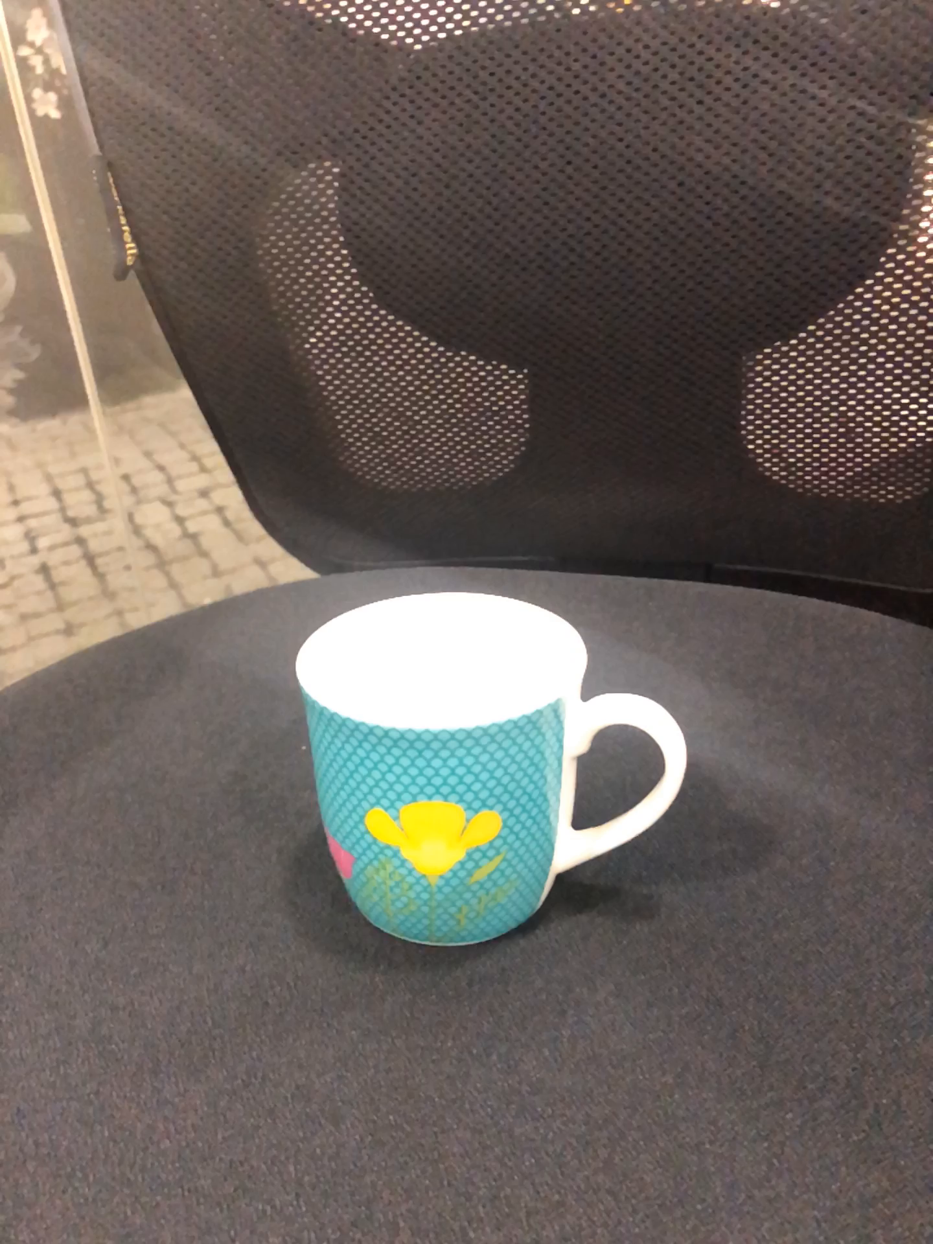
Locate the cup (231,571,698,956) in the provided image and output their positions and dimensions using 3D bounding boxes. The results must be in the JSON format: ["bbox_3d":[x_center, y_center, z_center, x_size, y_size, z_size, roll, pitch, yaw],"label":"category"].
[{"bbox_3d":[0.003,0.038,0.294,0.110,0.080,0.070,-1,30,4],"label":"cup"}]
